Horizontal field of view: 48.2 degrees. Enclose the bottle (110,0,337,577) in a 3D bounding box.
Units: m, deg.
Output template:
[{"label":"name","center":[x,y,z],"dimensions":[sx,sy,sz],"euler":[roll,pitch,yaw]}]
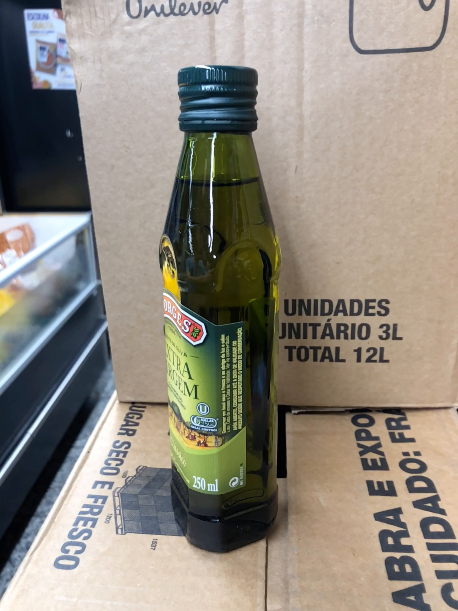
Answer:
[{"label":"bottle","center":[-0.002,0.000,0.222],"dimensions":[0.060,0.219,0.060],"euler":[-1,21,0]}]
